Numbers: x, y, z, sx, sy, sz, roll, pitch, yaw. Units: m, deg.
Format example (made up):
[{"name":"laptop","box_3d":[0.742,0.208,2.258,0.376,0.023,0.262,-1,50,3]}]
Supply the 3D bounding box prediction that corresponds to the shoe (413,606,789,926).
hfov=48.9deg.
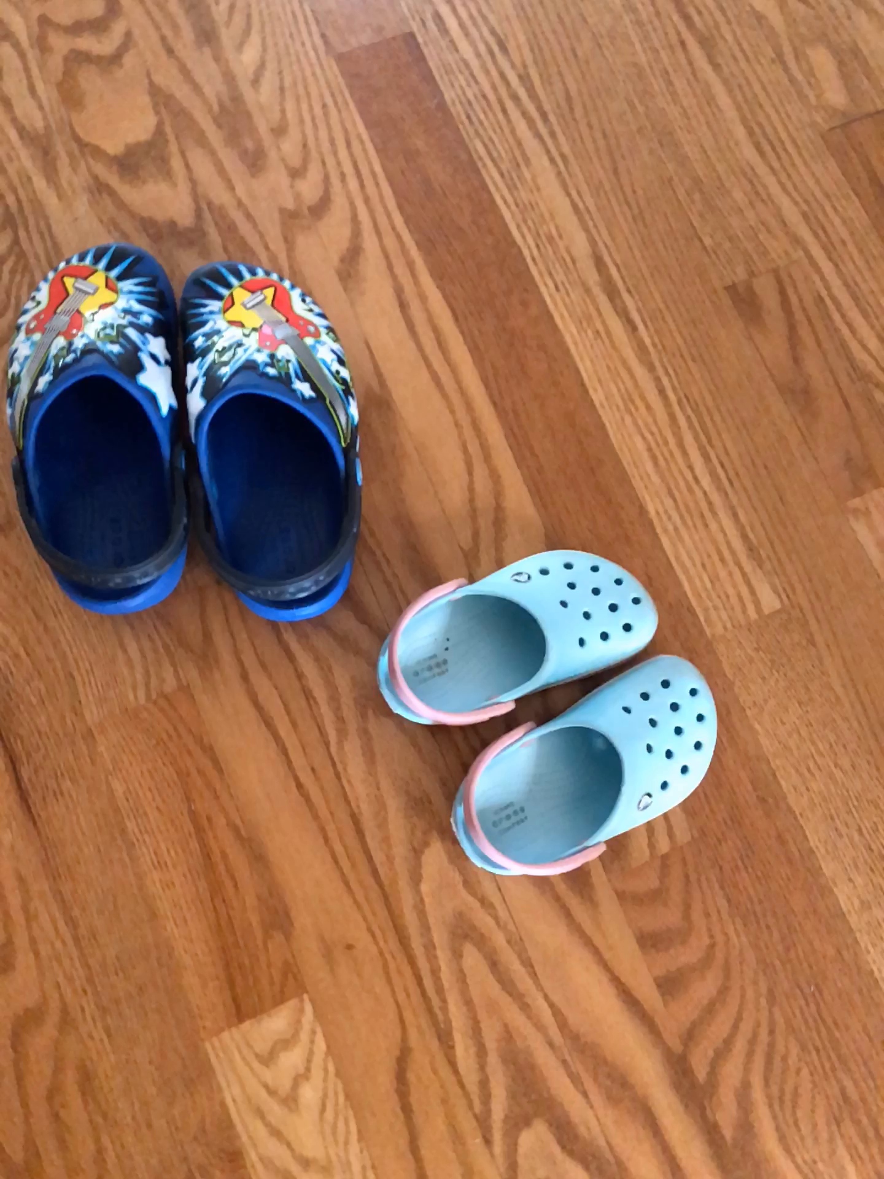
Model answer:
[{"name":"shoe","box_3d":[0.082,0.092,0.520,0.170,0.050,0.090,-28,79,-10]}]

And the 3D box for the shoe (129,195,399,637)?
[{"name":"shoe","box_3d":[-0.098,-0.096,0.543,0.110,0.070,0.220,-9,77,-6]}]

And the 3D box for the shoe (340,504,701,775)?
[{"name":"shoe","box_3d":[0.040,0.028,0.535,0.170,0.050,0.090,-19,78,-8]}]

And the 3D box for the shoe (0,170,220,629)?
[{"name":"shoe","box_3d":[-0.191,-0.103,0.532,0.110,0.070,0.230,-6,76,-5]}]
